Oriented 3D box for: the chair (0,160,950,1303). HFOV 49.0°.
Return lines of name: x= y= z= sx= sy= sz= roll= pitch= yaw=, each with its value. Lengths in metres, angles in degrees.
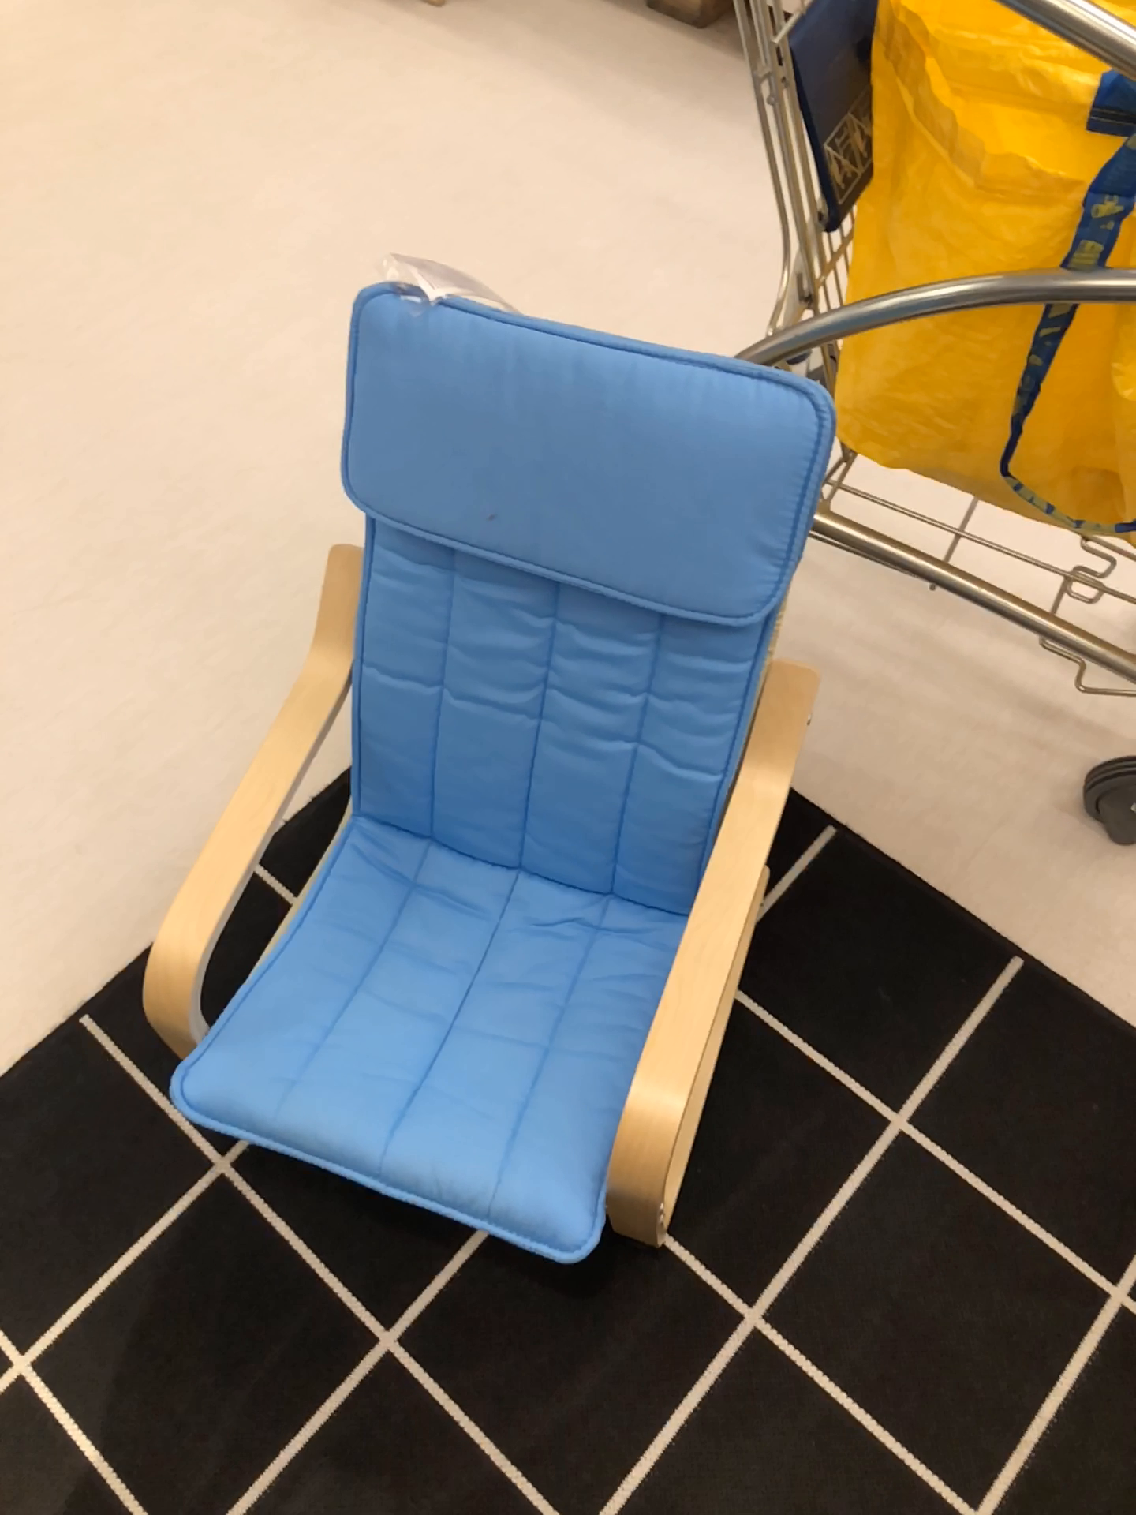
chair: x=-0.050 y=0.060 z=1.155 sx=0.490 sy=0.876 sz=0.562 roll=17 pitch=60 yaw=12
